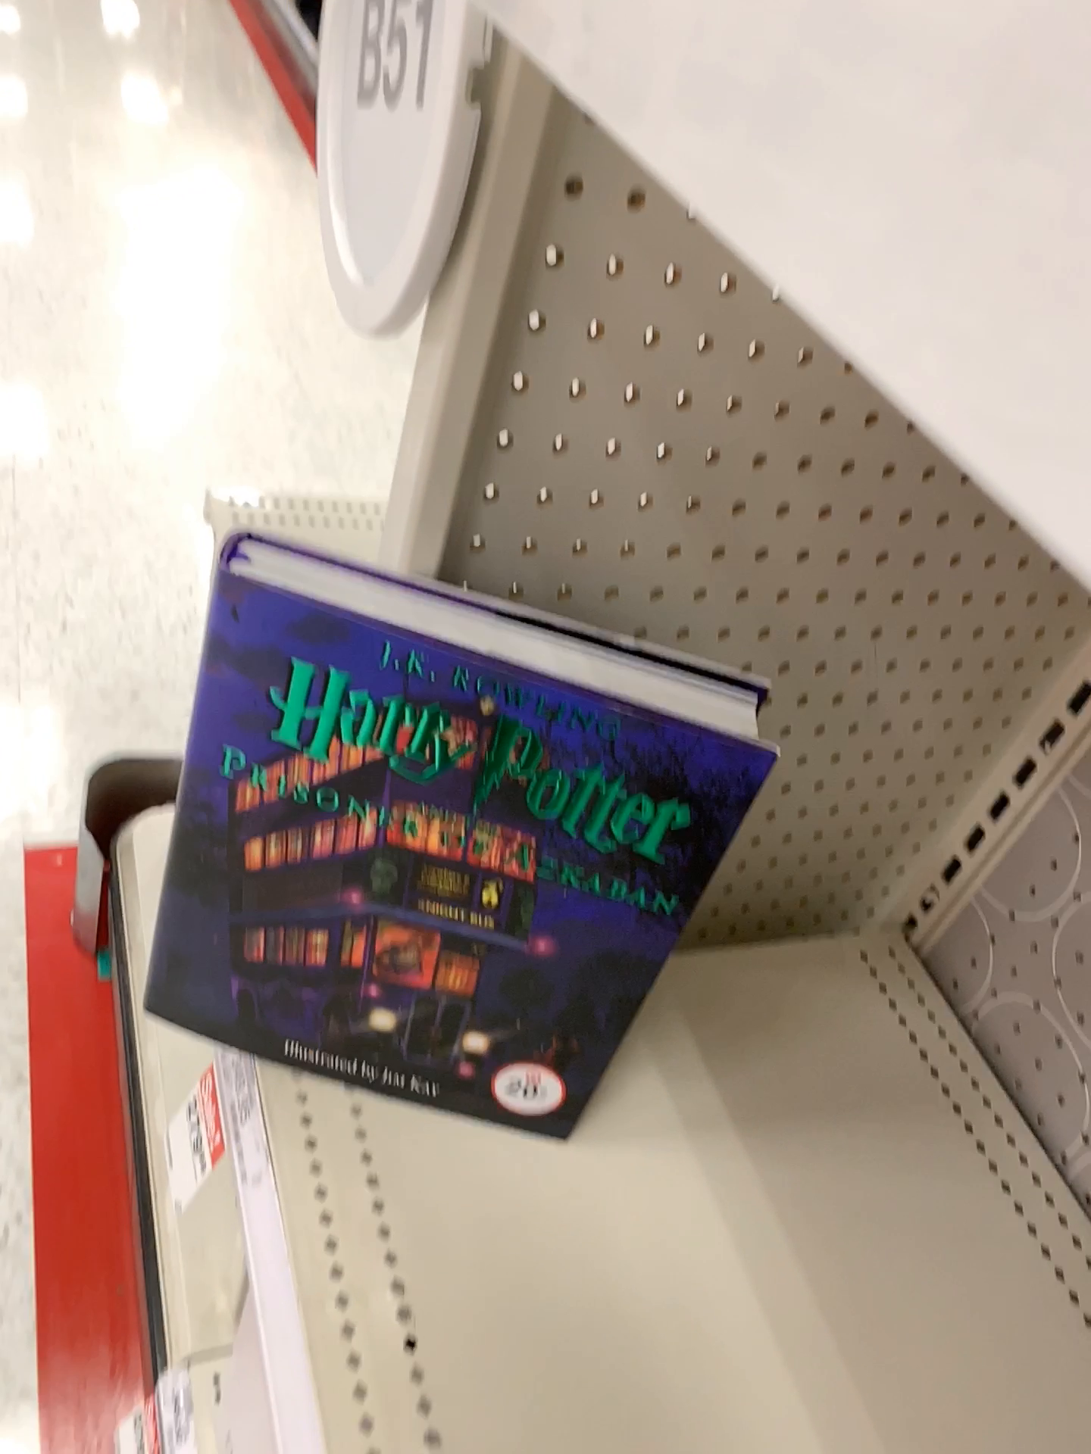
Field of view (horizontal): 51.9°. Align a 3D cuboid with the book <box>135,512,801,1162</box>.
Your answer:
[{"bbox_3d":[-0.053,0.071,0.520,0.240,0.280,0.050,17,34,-4],"label":"book"}]
